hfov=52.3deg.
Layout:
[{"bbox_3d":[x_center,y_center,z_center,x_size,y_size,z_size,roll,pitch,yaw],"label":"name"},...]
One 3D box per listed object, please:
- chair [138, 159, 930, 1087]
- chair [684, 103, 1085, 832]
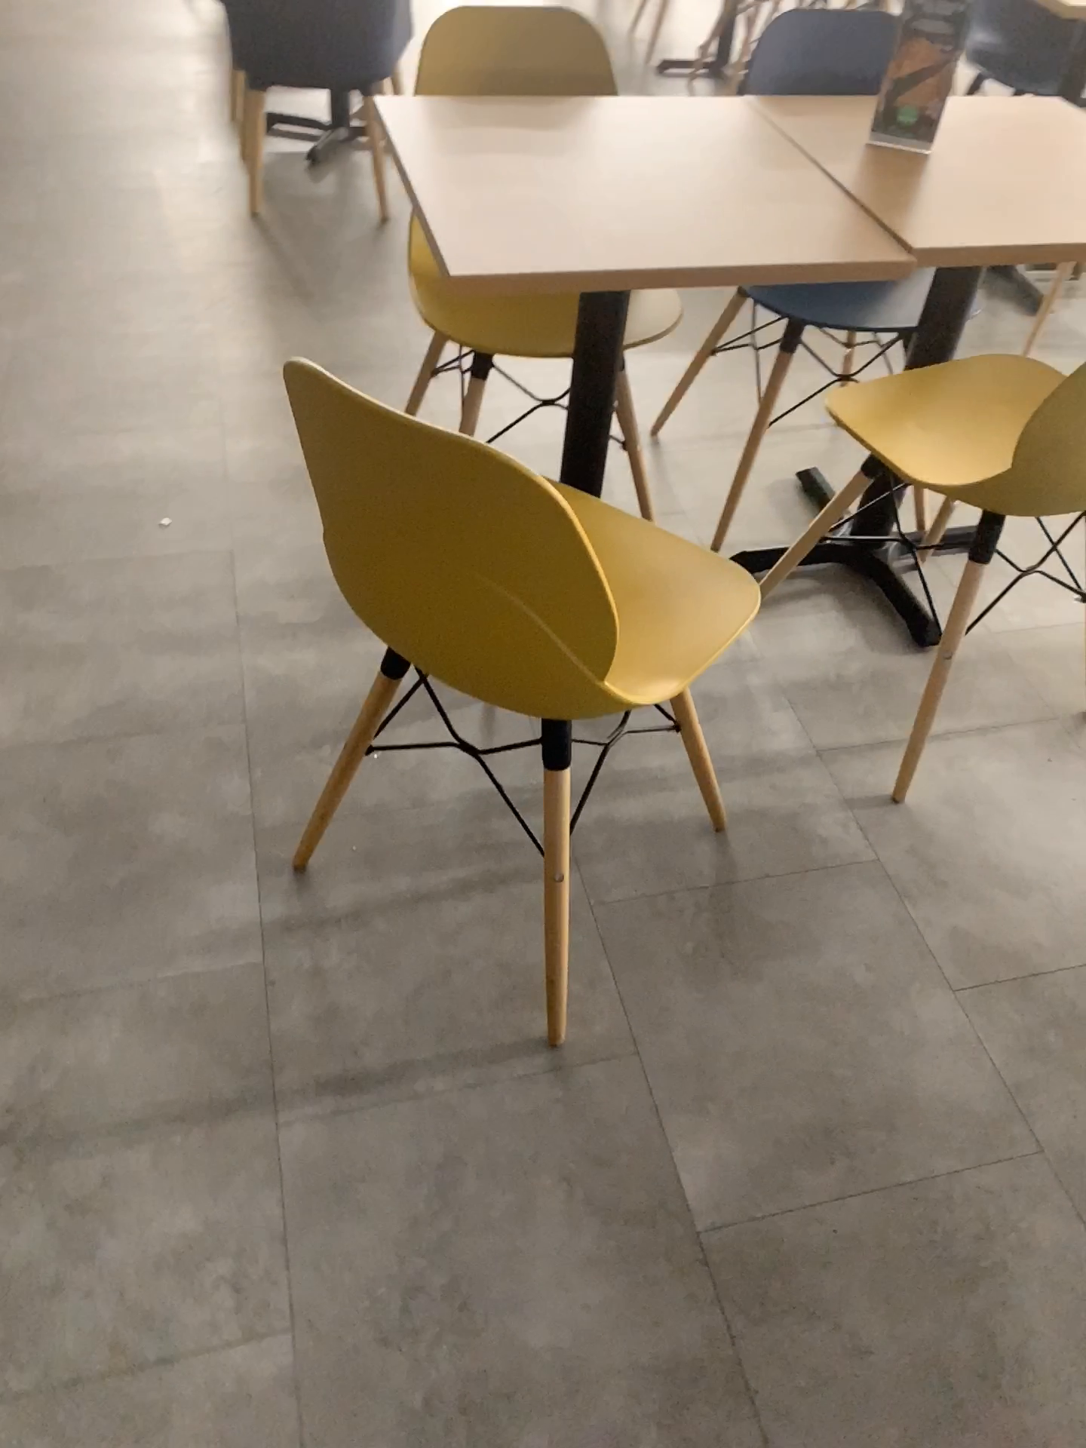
[{"bbox_3d":[-0.014,-0.110,1.283,0.518,0.781,0.522,29,49,22],"label":"chair"},{"bbox_3d":[0.628,-0.369,1.610,0.518,0.781,0.532,-20,50,-24],"label":"chair"}]
